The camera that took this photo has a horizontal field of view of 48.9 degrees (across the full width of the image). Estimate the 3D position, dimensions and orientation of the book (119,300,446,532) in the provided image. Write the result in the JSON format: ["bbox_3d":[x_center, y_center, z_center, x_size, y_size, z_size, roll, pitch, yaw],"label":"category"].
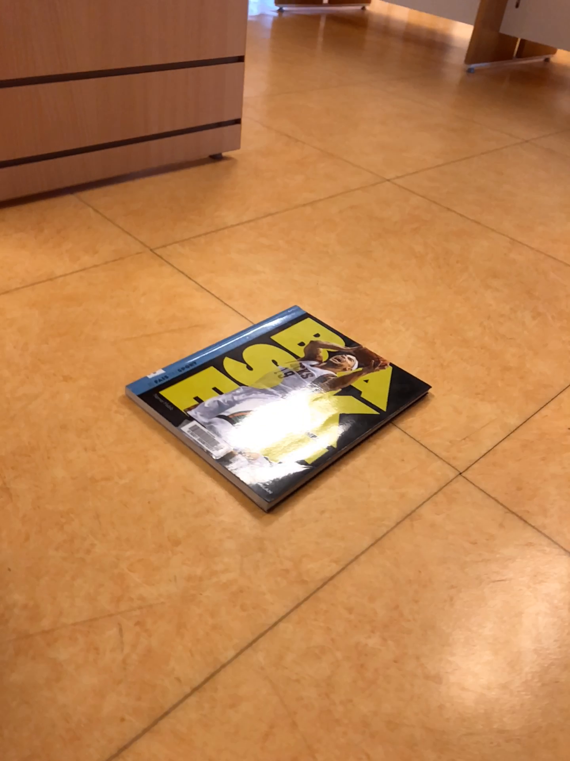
[{"bbox_3d":[0.004,0.012,0.602,0.200,0.020,0.246,34,45,29],"label":"book"}]
